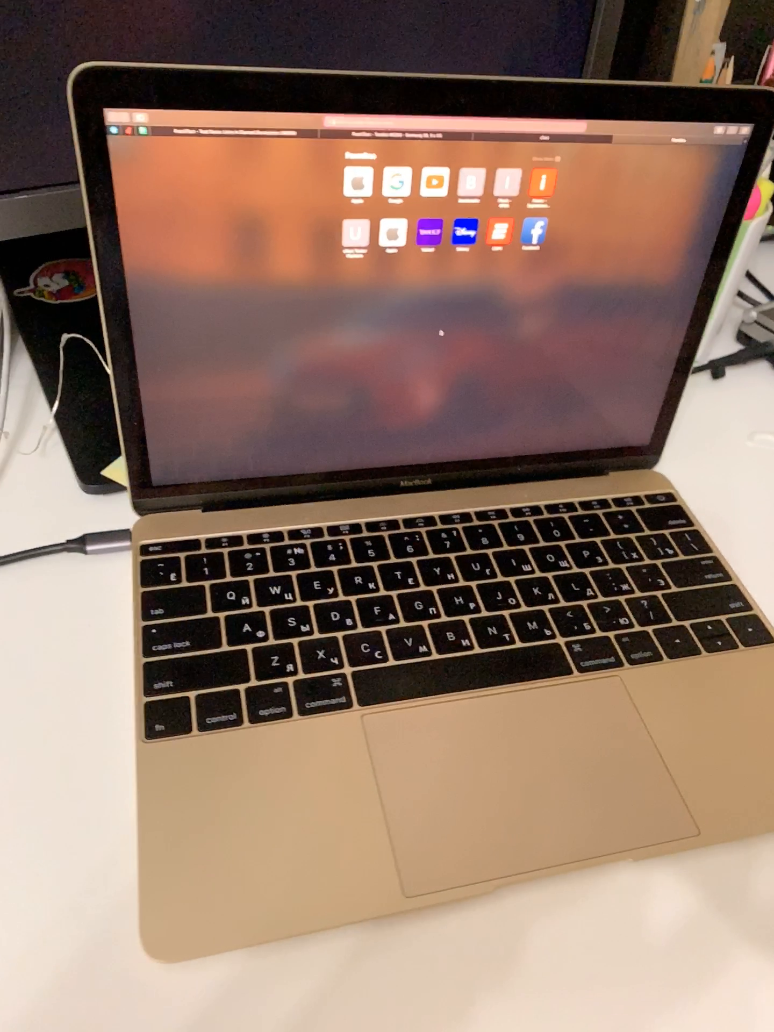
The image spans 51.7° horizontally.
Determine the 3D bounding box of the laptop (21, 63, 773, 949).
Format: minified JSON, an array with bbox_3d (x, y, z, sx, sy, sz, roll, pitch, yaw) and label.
[{"bbox_3d":[0.038,-0.021,0.261,0.247,0.169,0.198,-6,44,-14],"label":"laptop"}]
